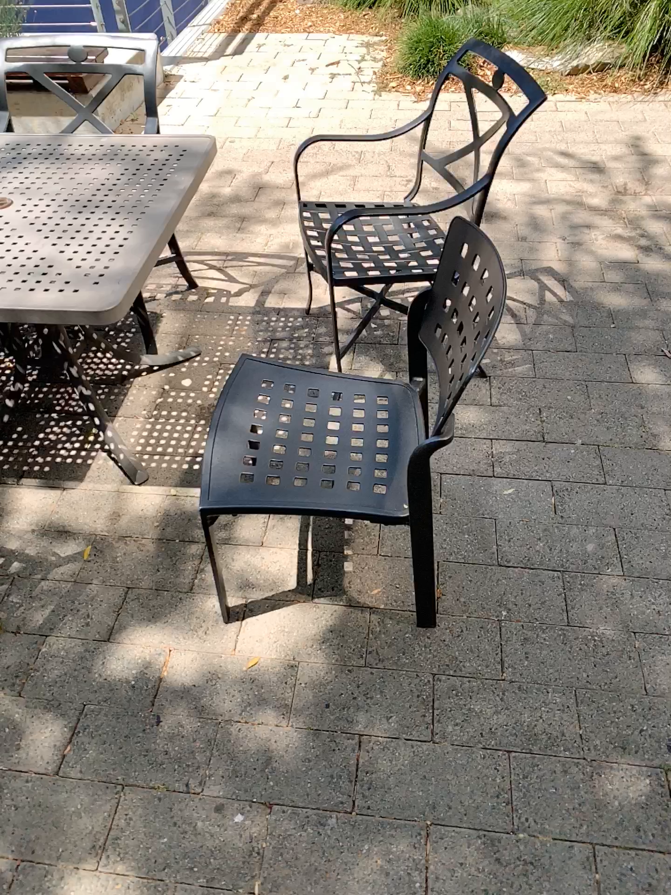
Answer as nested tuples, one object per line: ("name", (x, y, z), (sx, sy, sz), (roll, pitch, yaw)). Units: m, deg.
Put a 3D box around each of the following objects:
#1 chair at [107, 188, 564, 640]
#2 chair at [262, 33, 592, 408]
("chair", (0.015, -0.061, 1.439), (0.650, 0.706, 0.623), (0, 45, 3))
("chair", (0.202, -0.659, 1.983), (0.650, 0.756, 0.624), (-12, 46, -9))
